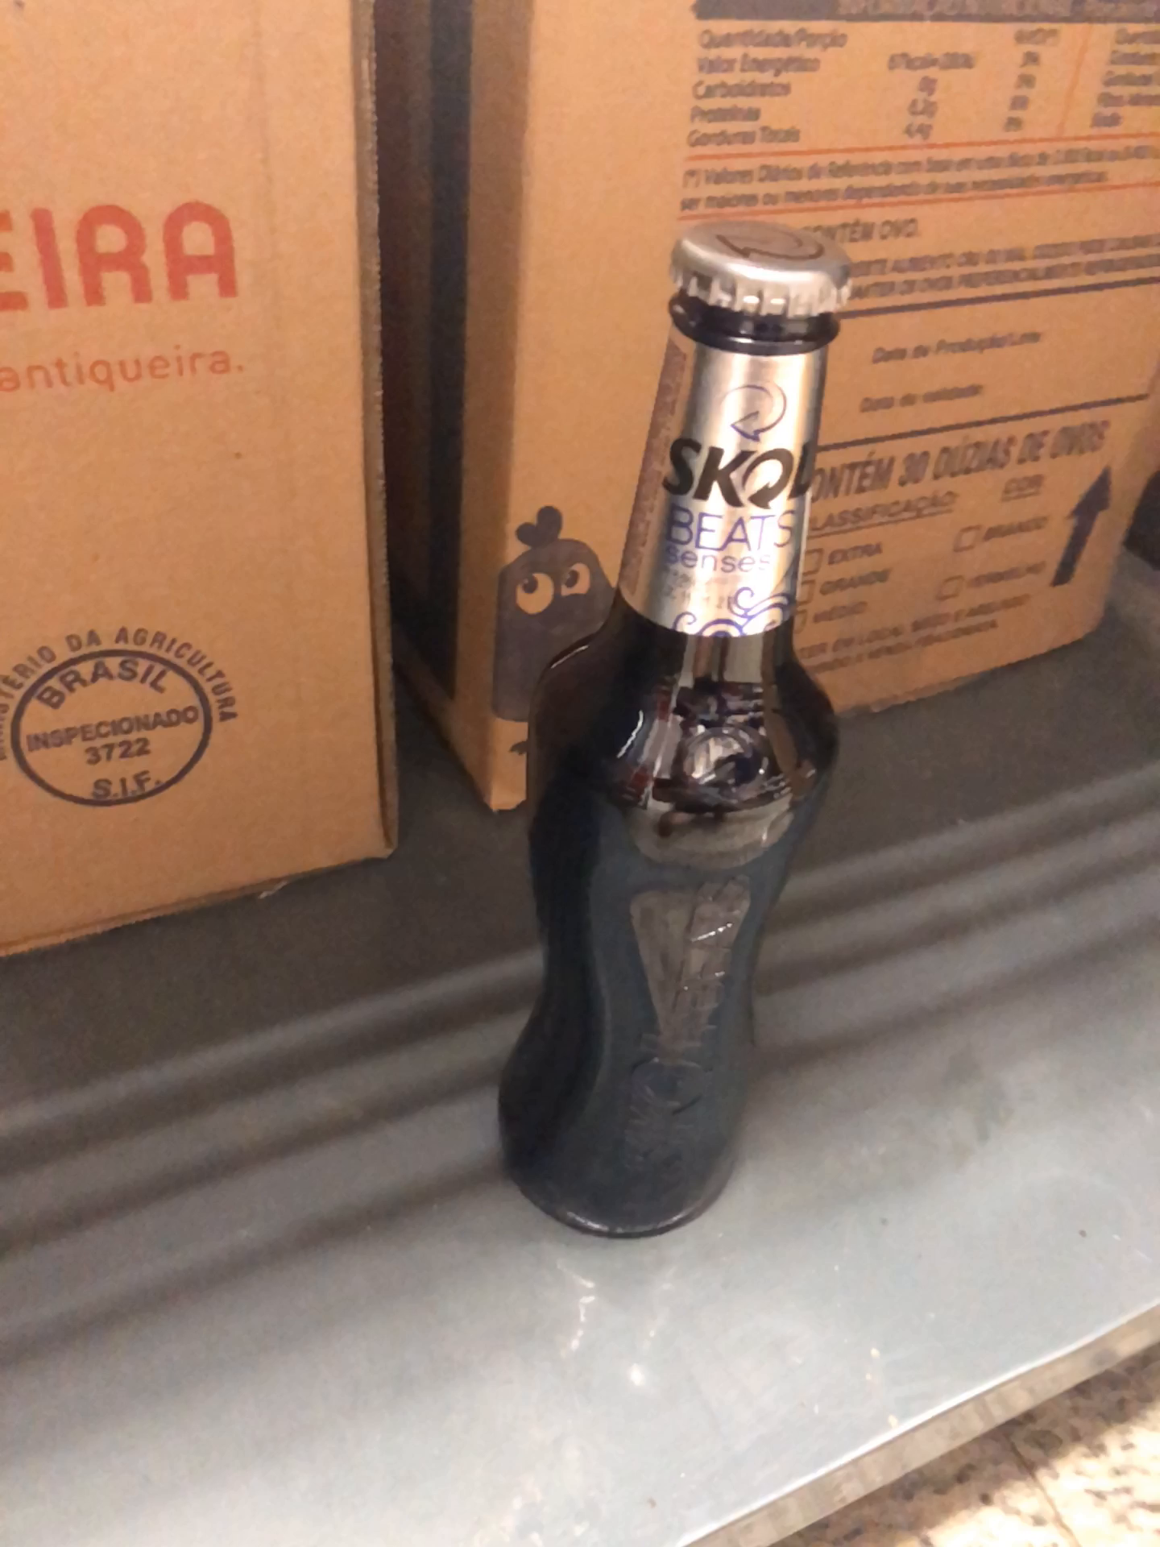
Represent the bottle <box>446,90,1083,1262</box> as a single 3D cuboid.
[{"bbox_3d":[0.017,-0.001,0.269,0.070,0.238,0.070,3,41,-2],"label":"bottle"}]
